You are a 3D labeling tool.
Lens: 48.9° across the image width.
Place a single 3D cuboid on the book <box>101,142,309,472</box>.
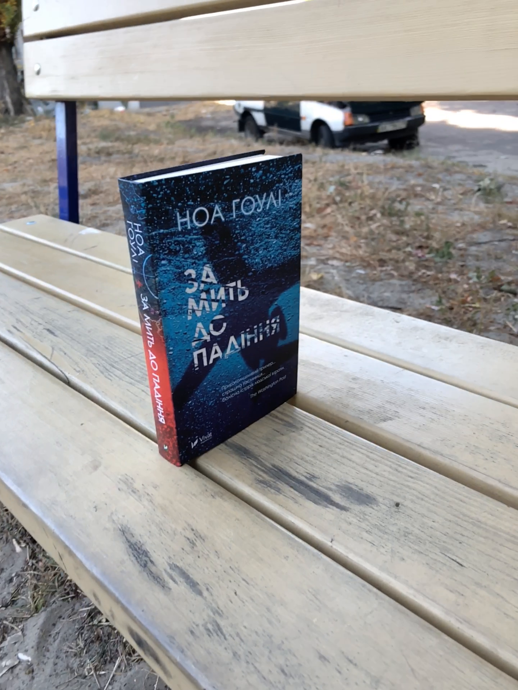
[{"bbox_3d":[-0.025,-0.030,0.409,0.040,0.199,0.140,23,36,40],"label":"book"}]
